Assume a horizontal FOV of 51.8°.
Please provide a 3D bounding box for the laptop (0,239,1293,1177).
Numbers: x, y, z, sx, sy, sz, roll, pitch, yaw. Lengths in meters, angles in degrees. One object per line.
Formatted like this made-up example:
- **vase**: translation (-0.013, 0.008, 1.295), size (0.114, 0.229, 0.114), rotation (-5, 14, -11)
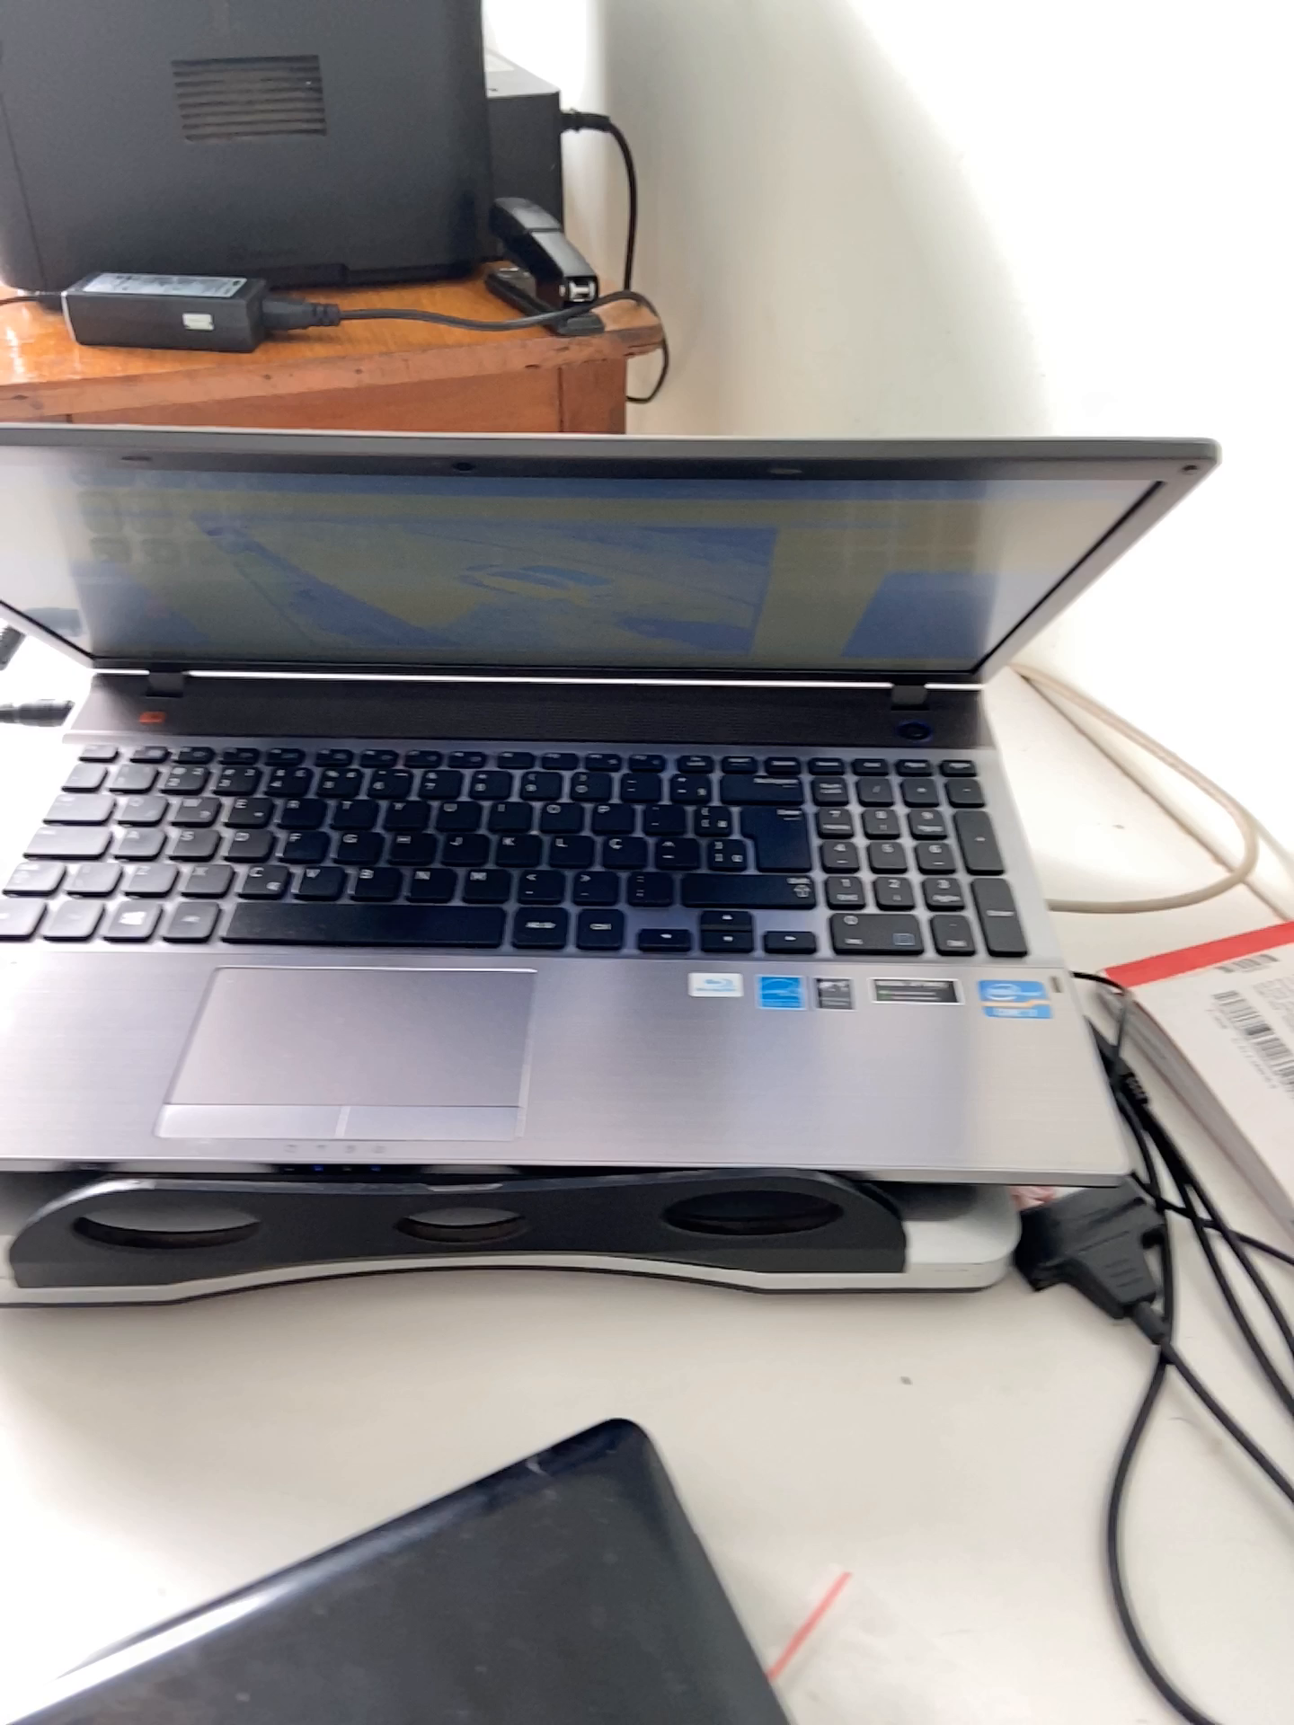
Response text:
- **laptop**: translation (-0.044, -0.058, 0.407), size (0.358, 0.164, 0.232), rotation (1, 41, -1)
